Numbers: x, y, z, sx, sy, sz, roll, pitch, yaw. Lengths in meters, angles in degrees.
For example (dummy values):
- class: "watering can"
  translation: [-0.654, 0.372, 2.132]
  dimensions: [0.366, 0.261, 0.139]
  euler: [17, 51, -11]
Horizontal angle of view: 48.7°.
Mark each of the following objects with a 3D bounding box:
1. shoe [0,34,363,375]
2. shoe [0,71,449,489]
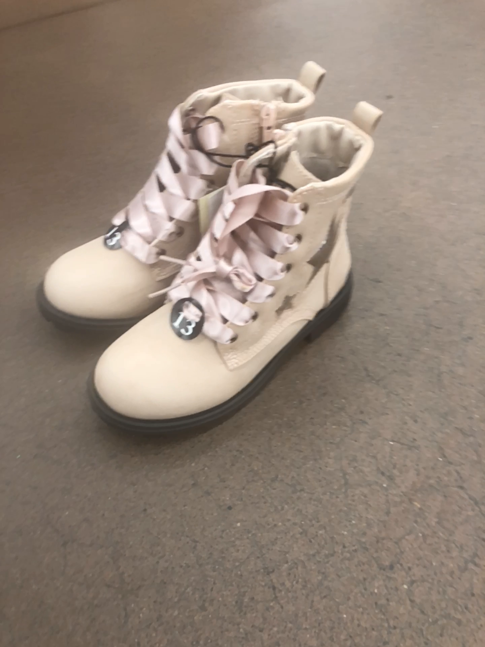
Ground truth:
- class: "shoe"
  translation: [-0.045, -0.082, 0.378]
  dimensions: [0.220, 0.150, 0.090]
  euler: [-24, 58, -17]
- class: "shoe"
  translation: [-0.005, -0.027, 0.326]
  dimensions: [0.220, 0.150, 0.090]
  euler: [-32, 60, -22]
